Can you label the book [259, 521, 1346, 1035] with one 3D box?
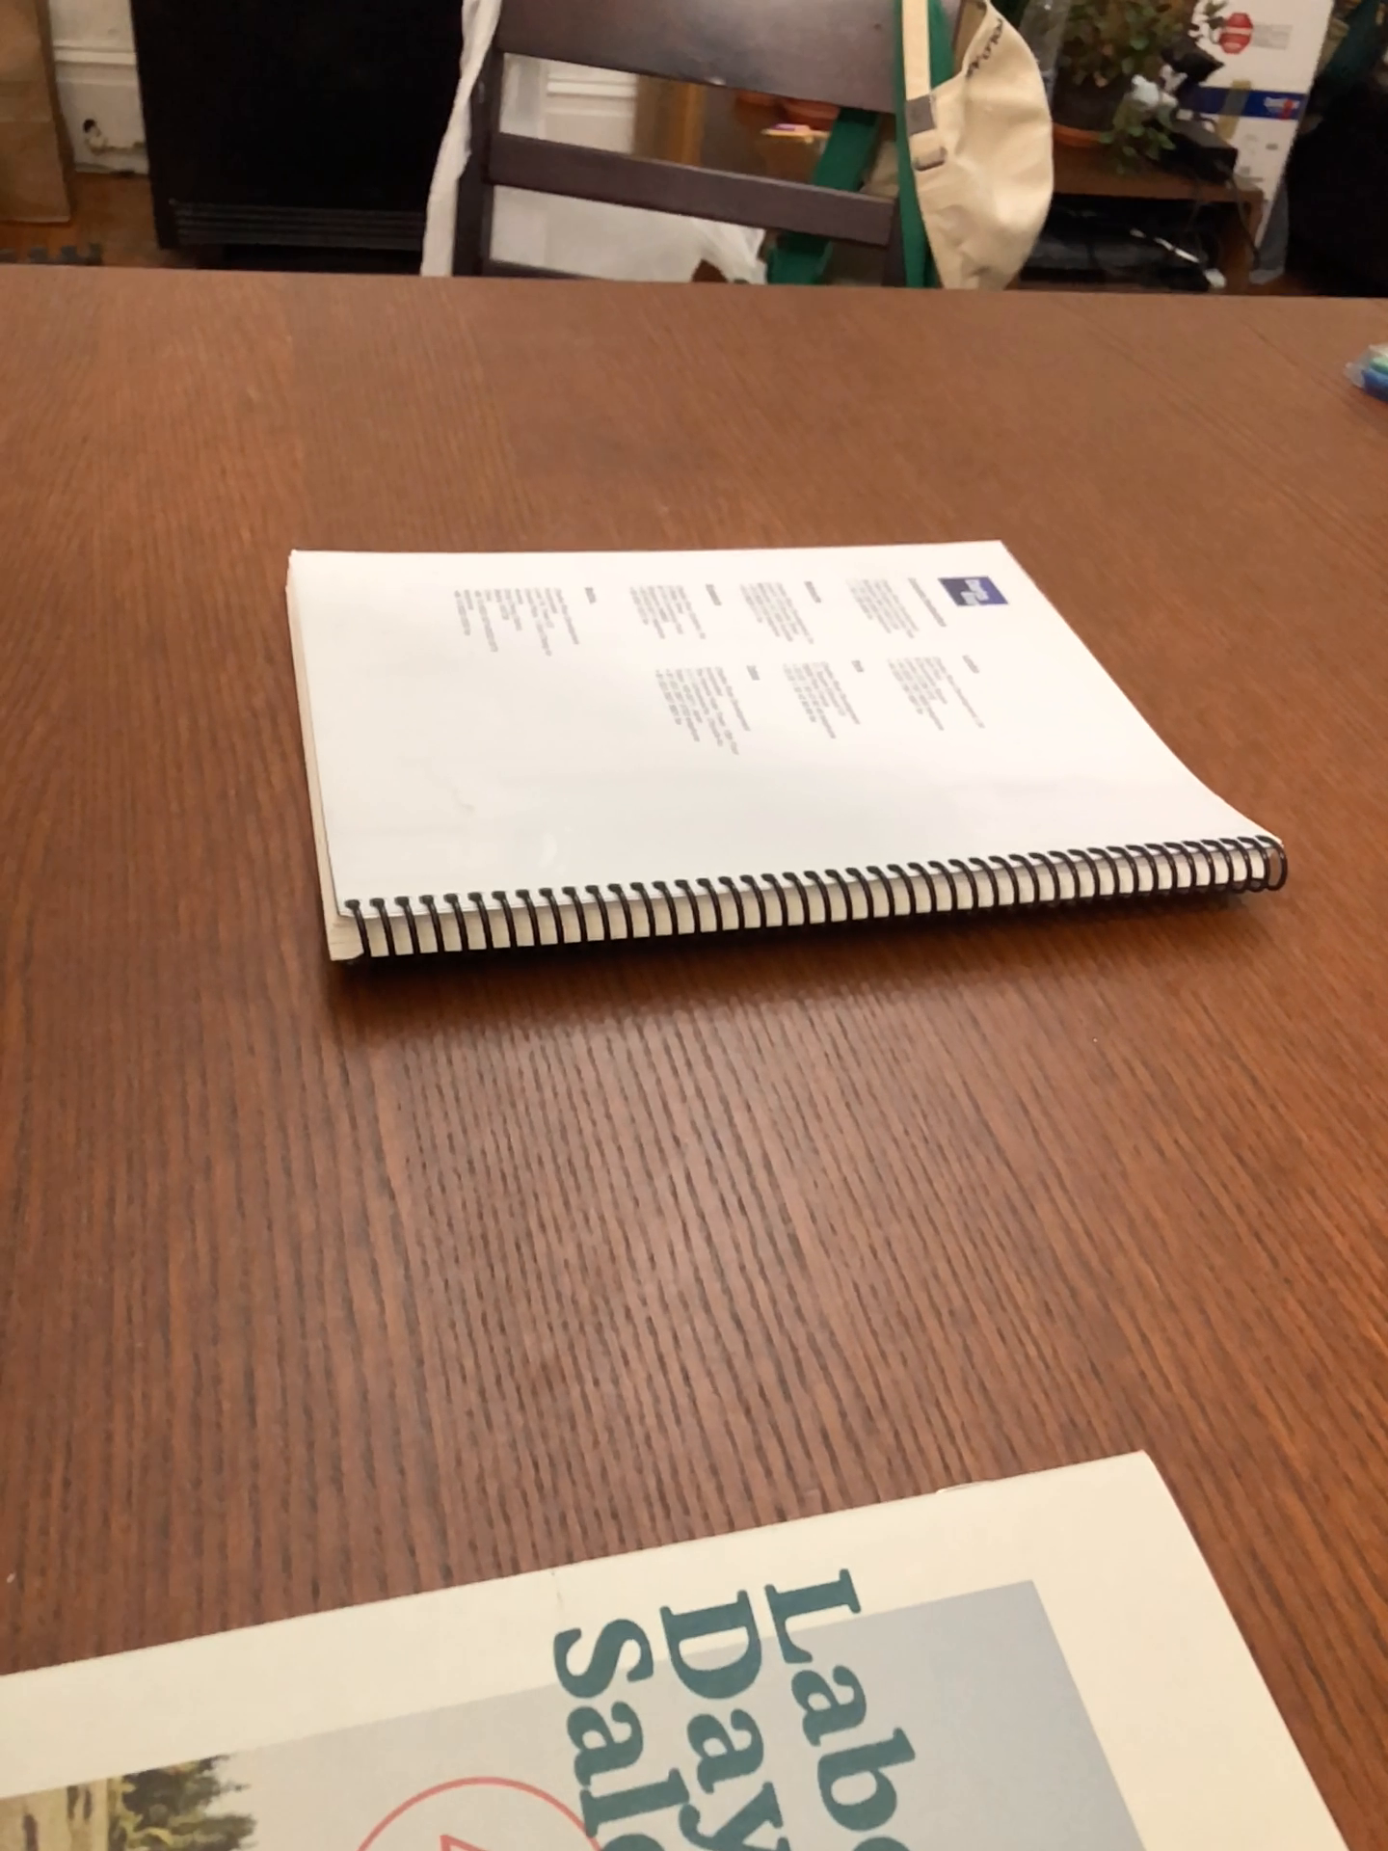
[{"bbox_3d":[0.019,-0.068,0.505,0.300,0.020,0.231,-5,42,-15],"label":"book"}]
